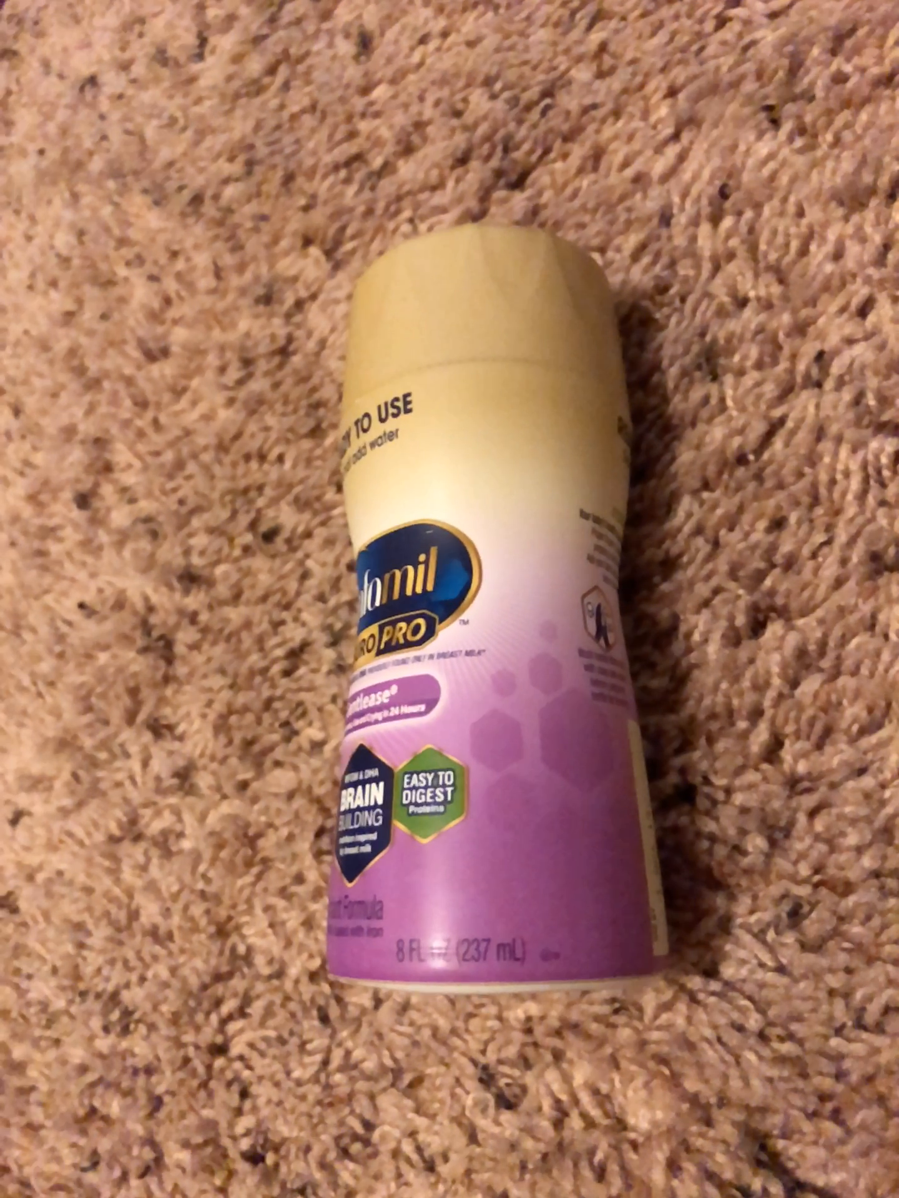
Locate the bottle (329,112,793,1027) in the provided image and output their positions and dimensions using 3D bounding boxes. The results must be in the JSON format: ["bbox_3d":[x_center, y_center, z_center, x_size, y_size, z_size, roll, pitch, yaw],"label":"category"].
[{"bbox_3d":[0.013,-0.004,0.193,0.060,0.060,0.150,135,136,-67],"label":"bottle"}]
